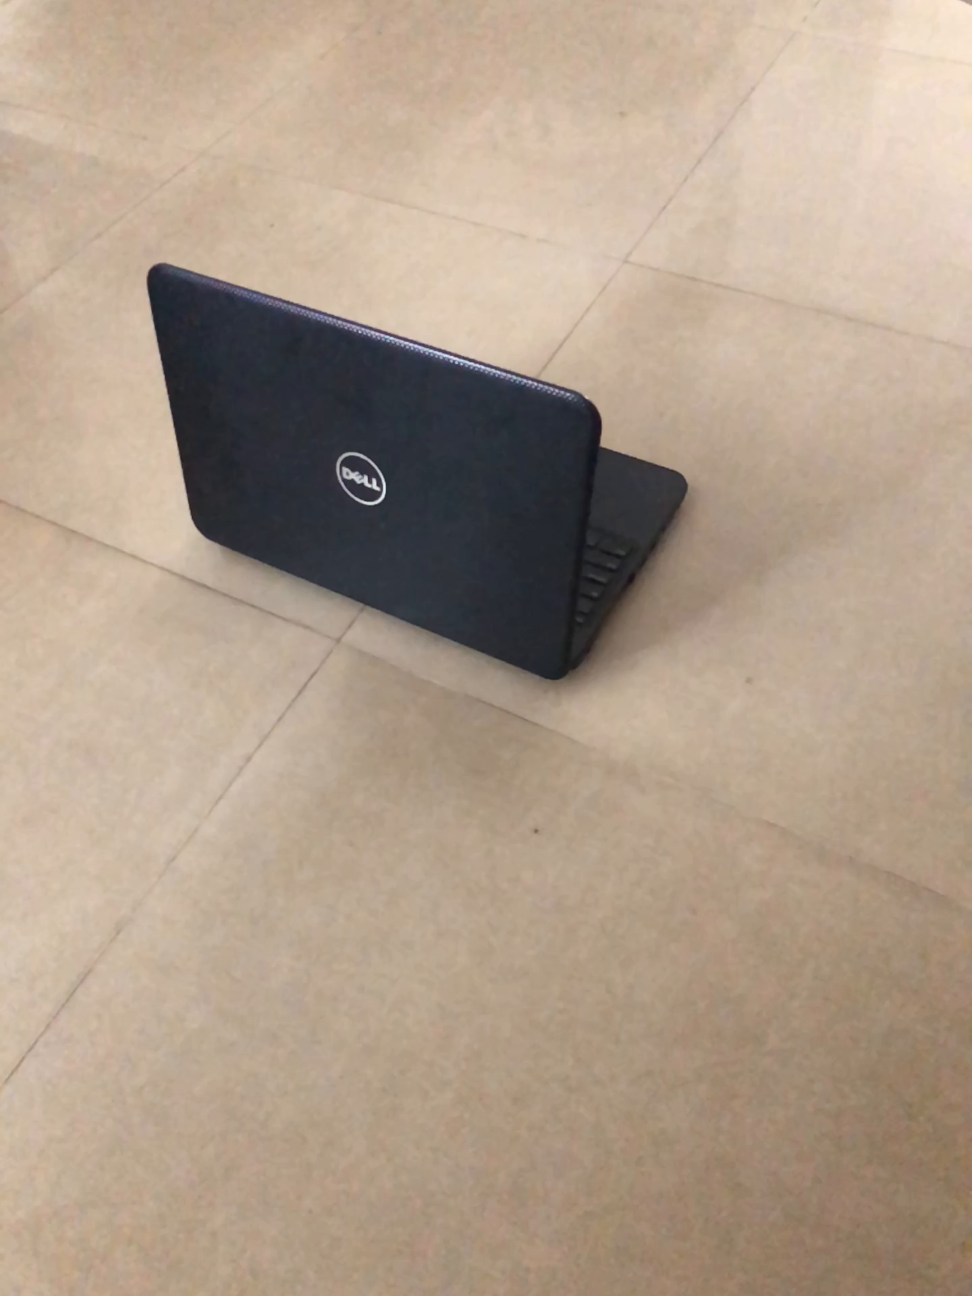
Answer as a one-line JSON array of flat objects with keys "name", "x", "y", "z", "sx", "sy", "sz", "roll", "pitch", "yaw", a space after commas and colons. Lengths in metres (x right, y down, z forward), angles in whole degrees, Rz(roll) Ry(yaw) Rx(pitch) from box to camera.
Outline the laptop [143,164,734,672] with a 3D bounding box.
[{"name": "laptop", "x": -0.024, "y": -0.195, "z": 0.864, "sx": 0.352, "sy": 0.227, "sz": 0.248, "roll": 22, "pitch": 55, "yaw": 19}]
